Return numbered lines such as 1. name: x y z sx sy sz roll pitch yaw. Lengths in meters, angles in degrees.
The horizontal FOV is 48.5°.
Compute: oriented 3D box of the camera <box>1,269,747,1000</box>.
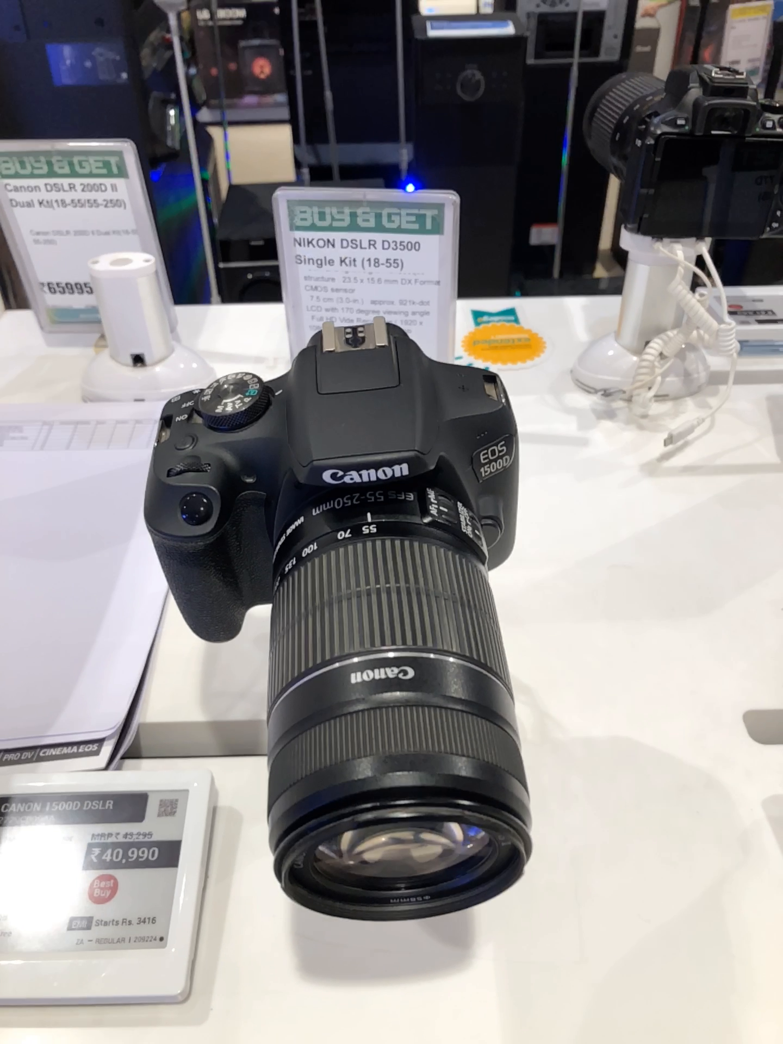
1. camera: -0.012 0.013 0.267 0.140 0.089 0.201 -6 41 -4
